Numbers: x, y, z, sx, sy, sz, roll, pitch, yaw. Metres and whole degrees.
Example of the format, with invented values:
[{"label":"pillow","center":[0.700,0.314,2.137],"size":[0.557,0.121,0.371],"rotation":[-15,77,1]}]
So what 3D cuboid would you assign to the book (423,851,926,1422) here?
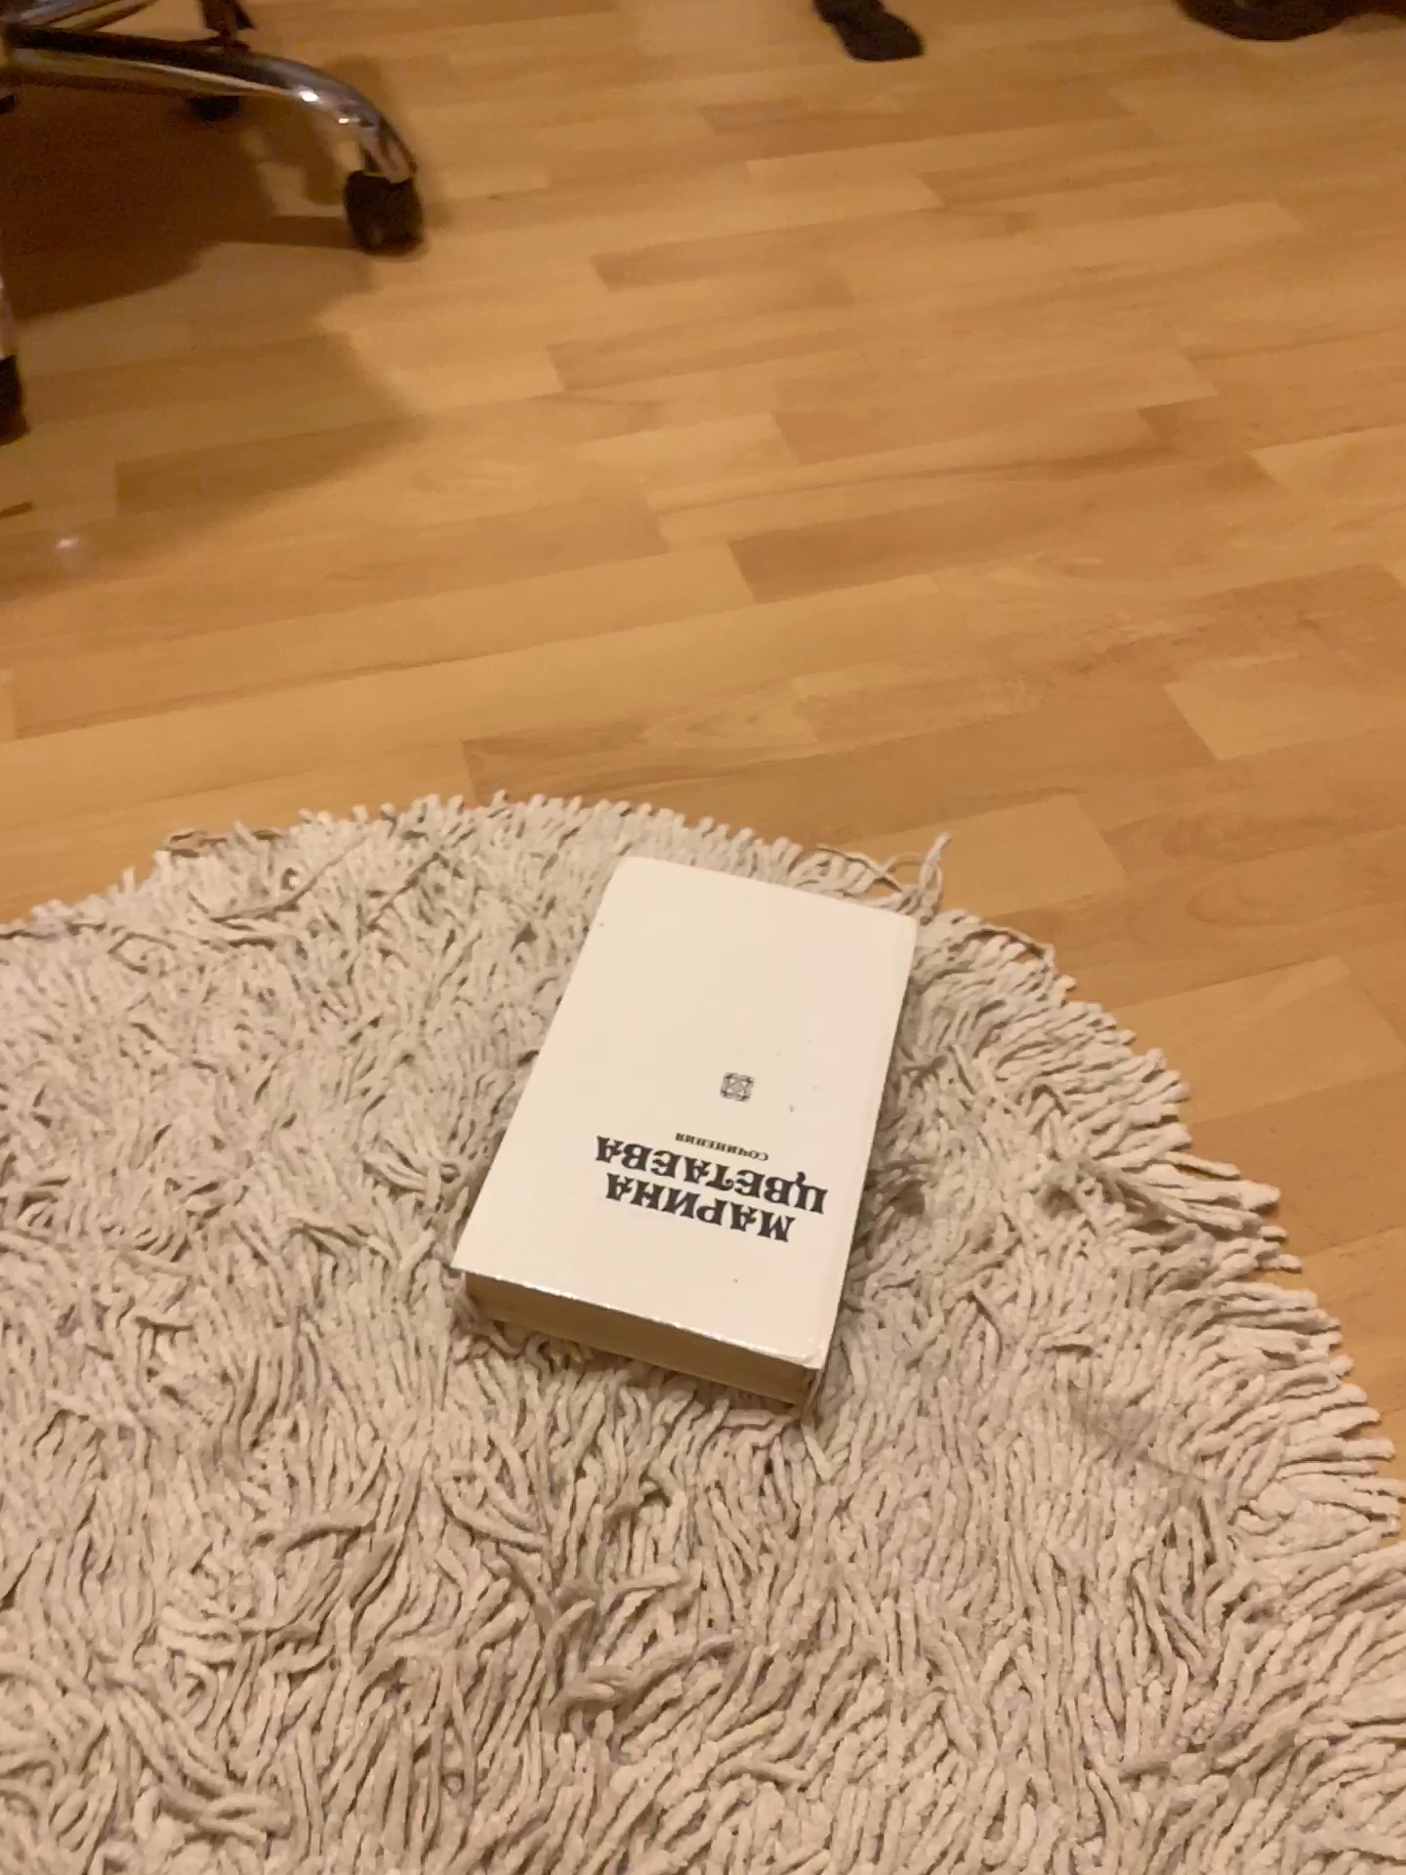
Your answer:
[{"label":"book","center":[-0.002,0.065,0.566],"size":[0.140,0.040,0.209],"rotation":[12,50,9]}]
